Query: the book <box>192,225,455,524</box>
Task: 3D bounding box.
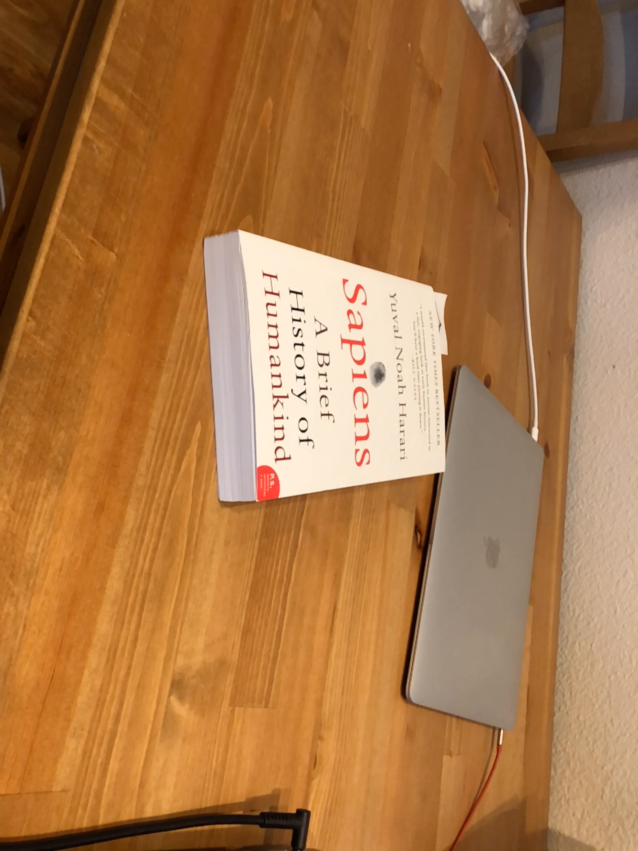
[{"bbox_3d":[0.019,-0.031,0.515,0.252,0.040,0.170,-2,88,-54],"label":"book"}]
